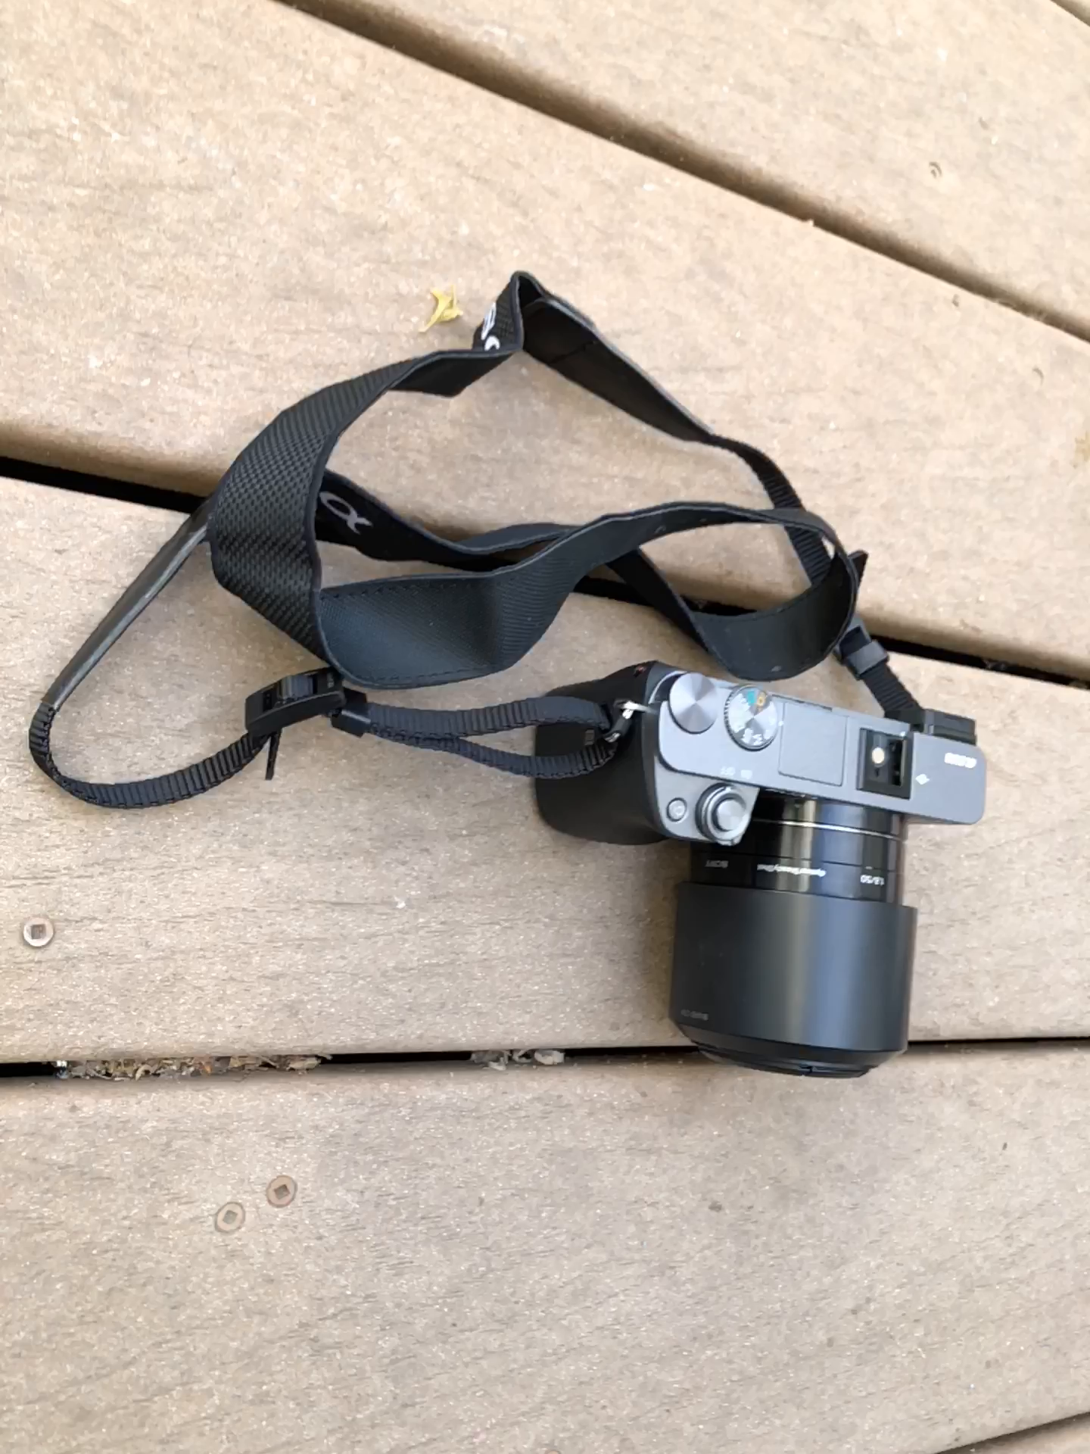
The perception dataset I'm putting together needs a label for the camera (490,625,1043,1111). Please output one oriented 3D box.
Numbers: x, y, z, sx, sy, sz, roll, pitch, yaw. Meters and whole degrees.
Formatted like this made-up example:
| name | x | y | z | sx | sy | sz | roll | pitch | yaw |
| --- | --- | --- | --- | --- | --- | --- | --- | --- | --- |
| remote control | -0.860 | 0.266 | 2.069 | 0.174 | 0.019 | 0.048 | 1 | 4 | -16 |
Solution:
| name | x | y | z | sx | sy | sz | roll | pitch | yaw |
| --- | --- | --- | --- | --- | --- | --- | --- | --- | --- |
| camera | 0.064 | 0.043 | 0.337 | 0.130 | 0.070 | 0.110 | 11 | 80 | -30 |
